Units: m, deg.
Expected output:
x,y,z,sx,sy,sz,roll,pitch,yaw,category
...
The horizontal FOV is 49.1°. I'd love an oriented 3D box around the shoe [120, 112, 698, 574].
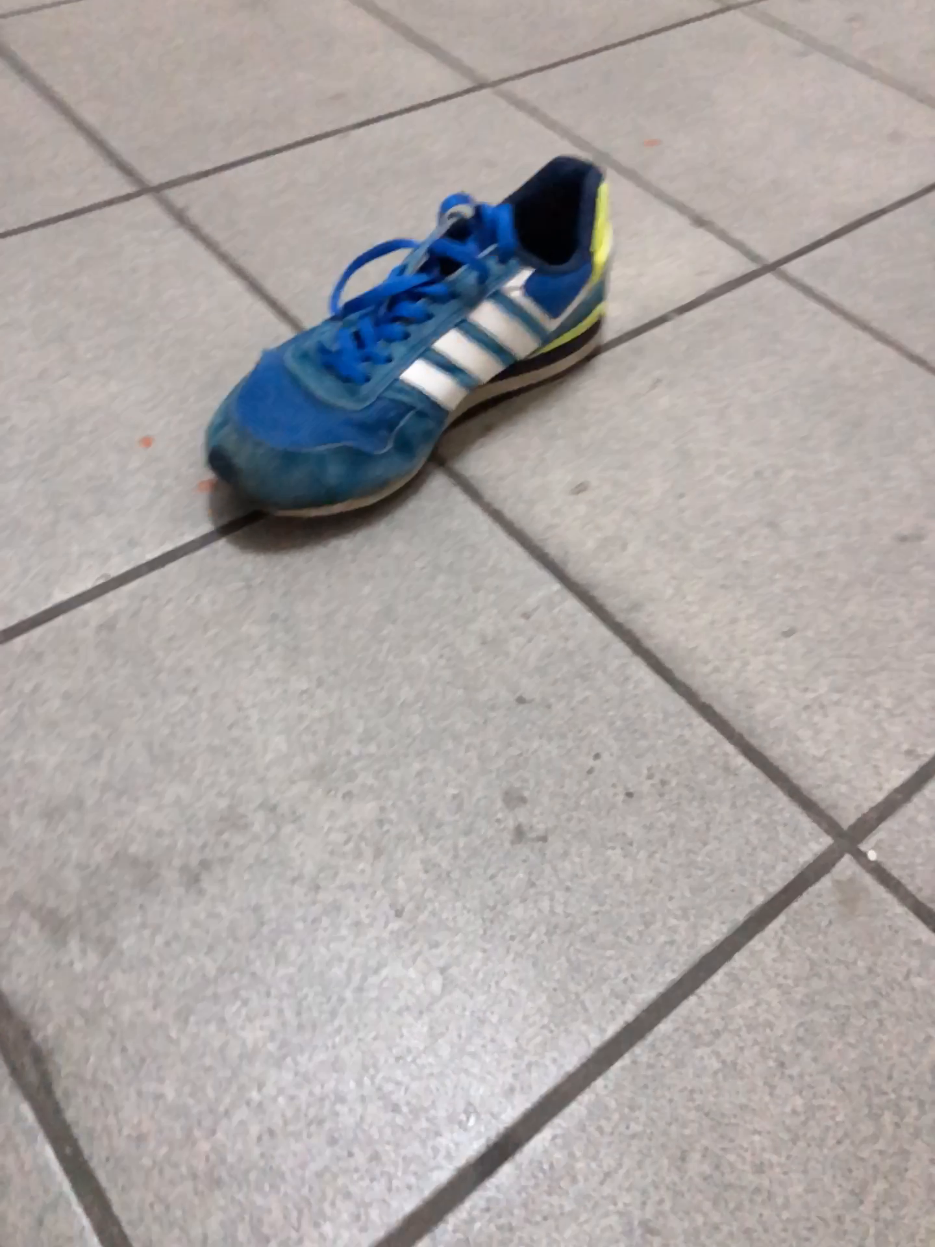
x,y,z,sx,sy,sz,roll,pitch,yaw,category
-0.020,-0.163,0.554,0.293,0.099,0.110,-36,62,-28,shoe
